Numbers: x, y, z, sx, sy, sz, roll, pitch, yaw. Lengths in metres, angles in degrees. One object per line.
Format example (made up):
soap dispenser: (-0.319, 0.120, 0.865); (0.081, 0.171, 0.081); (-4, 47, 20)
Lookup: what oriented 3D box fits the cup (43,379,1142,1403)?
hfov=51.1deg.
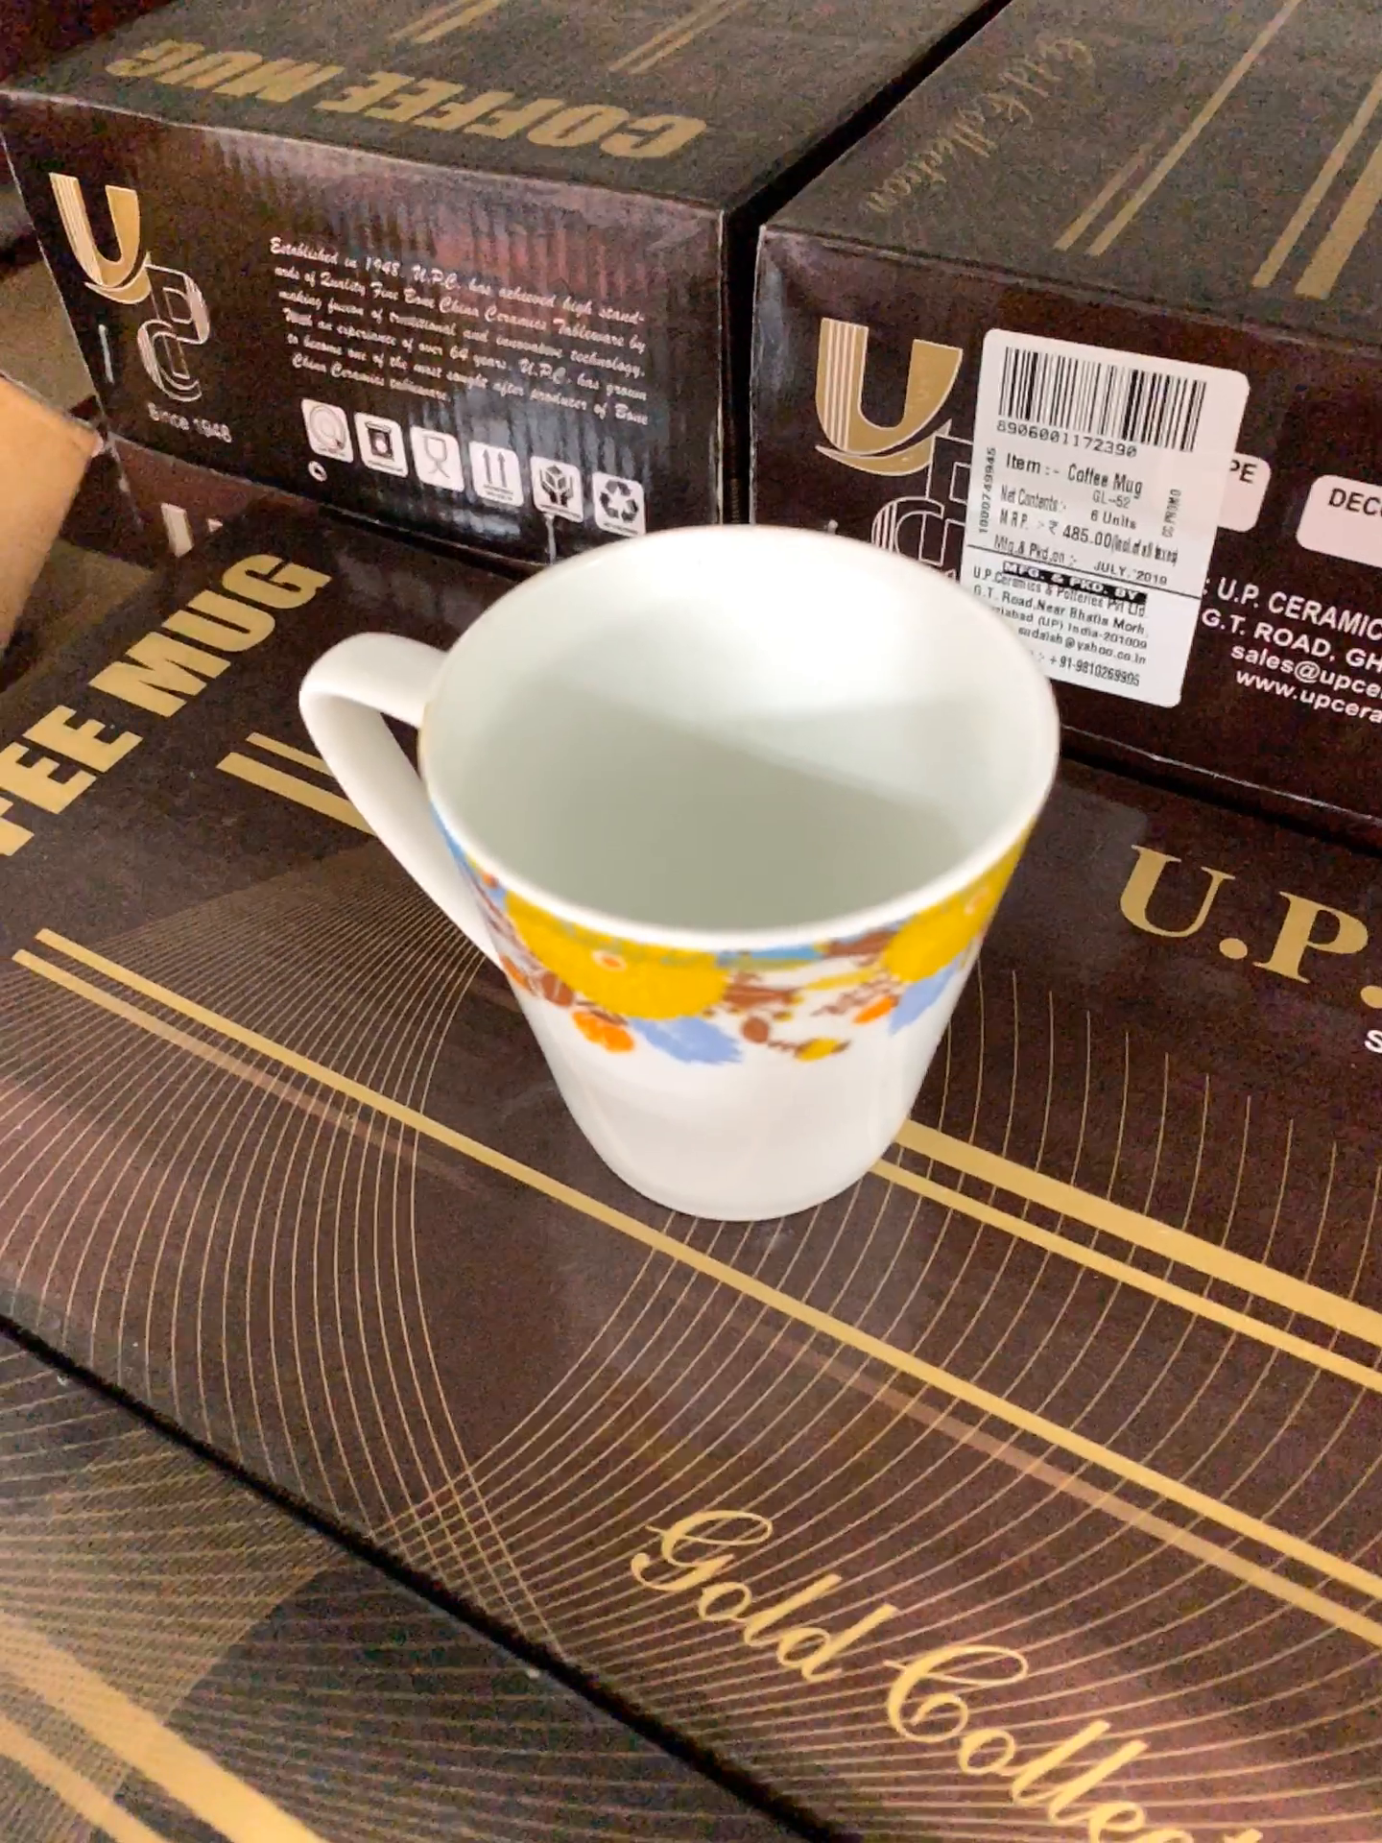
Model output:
cup: (-0.007, -0.007, 0.175); (0.090, 0.069, 0.070); (22, 53, 21)
